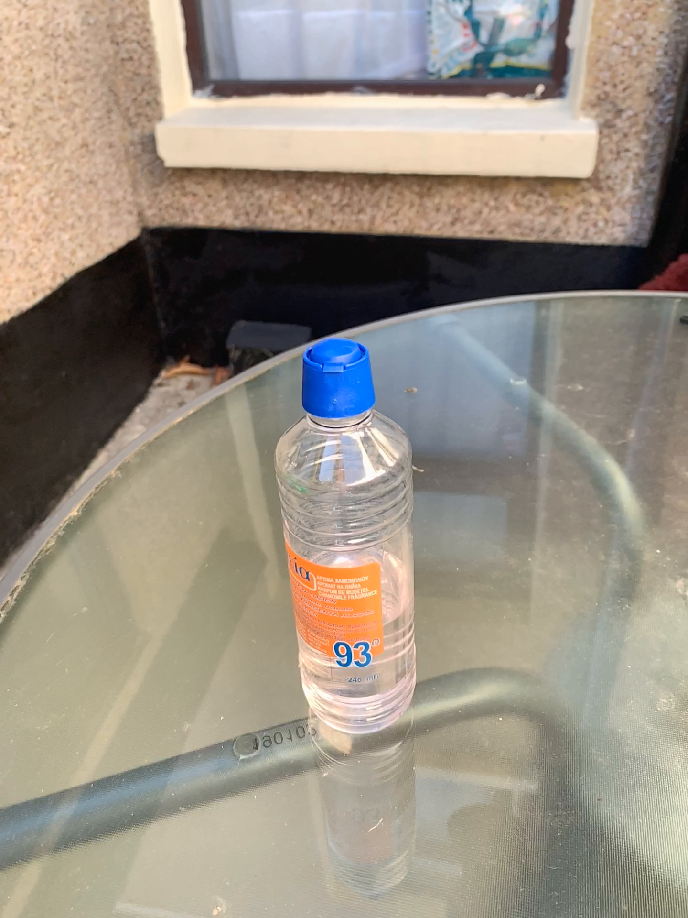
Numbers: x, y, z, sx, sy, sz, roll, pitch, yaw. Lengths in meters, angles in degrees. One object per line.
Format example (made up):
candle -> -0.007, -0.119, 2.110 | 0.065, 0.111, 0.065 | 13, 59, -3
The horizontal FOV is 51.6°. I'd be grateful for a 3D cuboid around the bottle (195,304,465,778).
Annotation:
bottle -> -0.002, 0.034, 0.267 | 0.060, 0.158, 0.060 | -1, 34, 1
